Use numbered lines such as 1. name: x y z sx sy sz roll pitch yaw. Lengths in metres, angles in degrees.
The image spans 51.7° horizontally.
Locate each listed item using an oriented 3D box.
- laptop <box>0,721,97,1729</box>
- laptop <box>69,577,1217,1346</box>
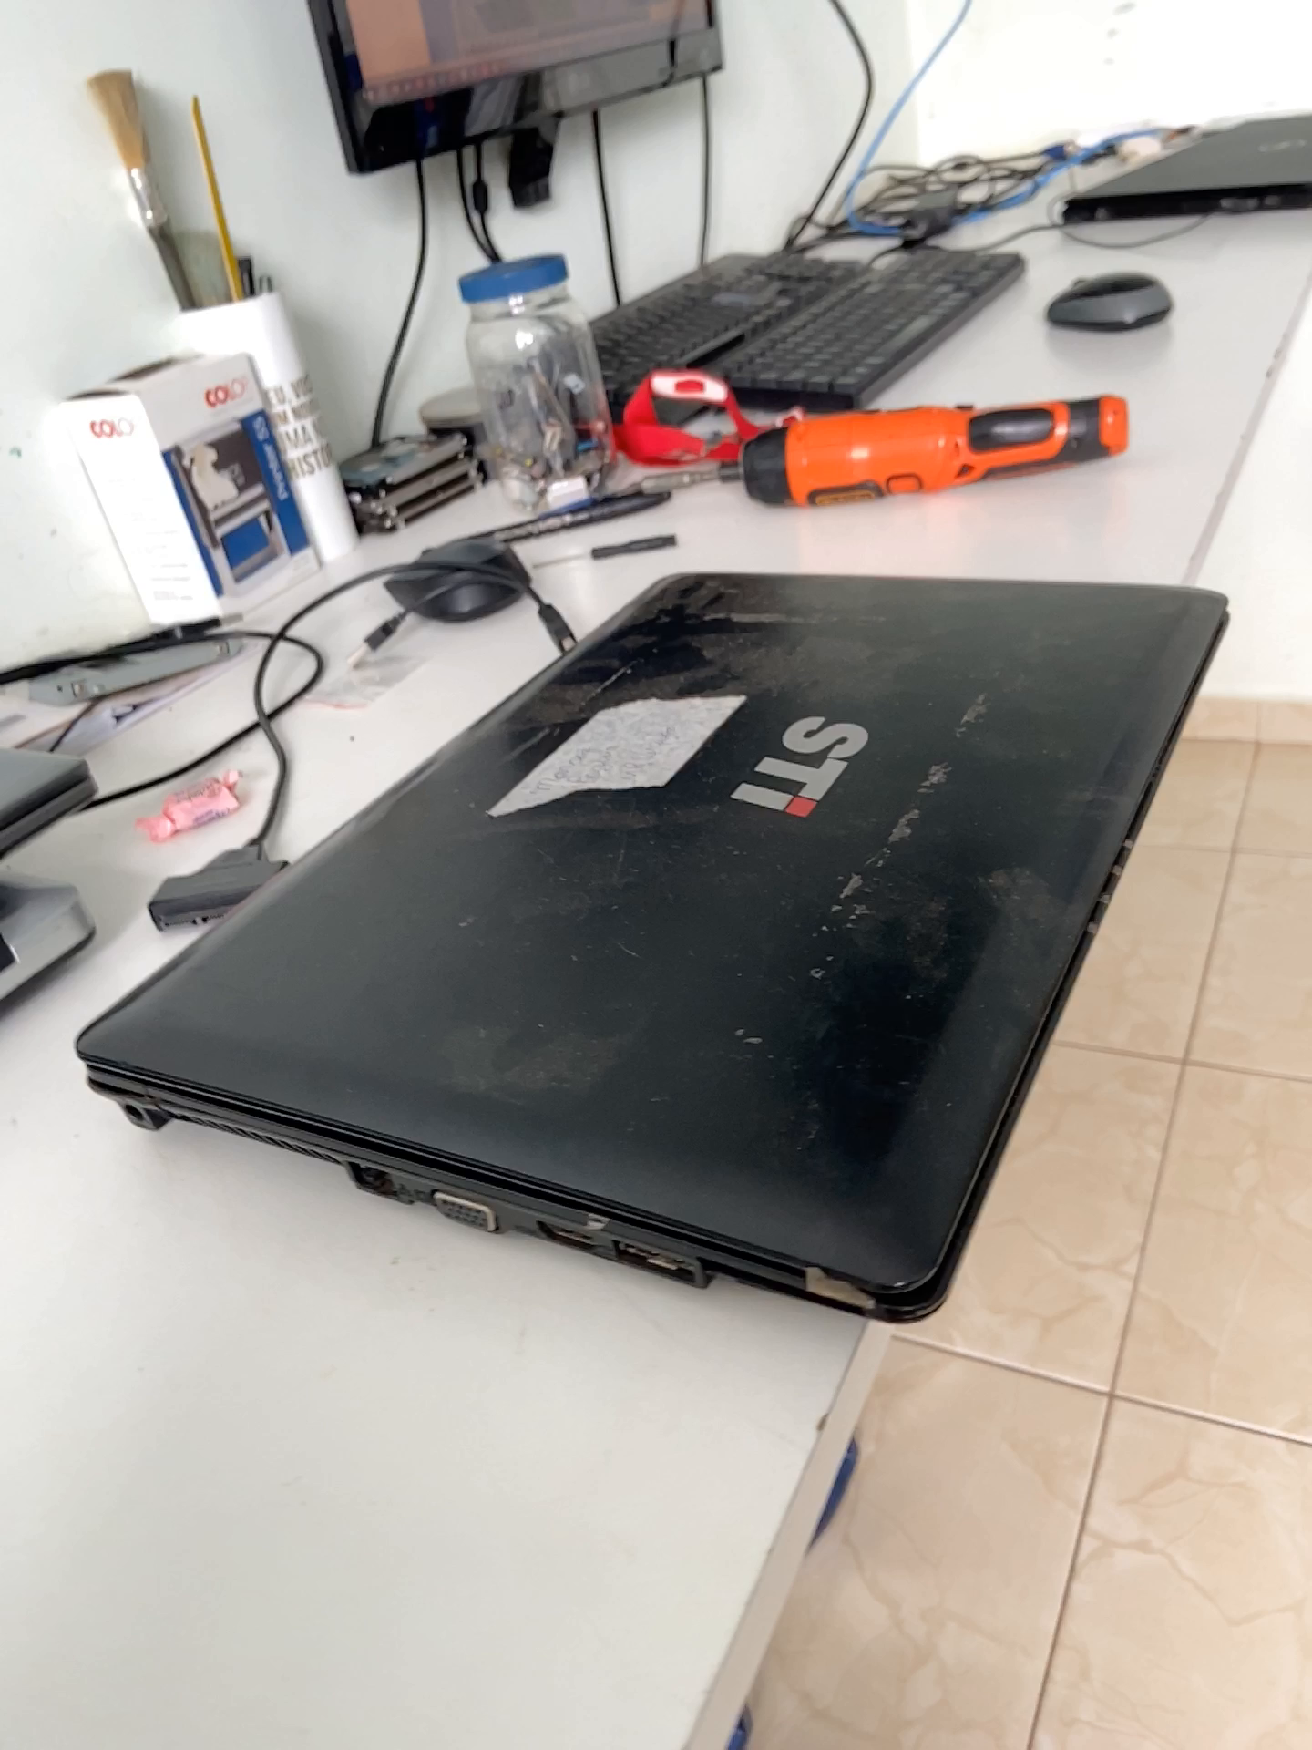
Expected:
1. laptop: -0.367 0.033 0.385 0.227 0.006 0.345 5 32 25
2. laptop: 0.026 -0.022 0.425 0.230 0.011 0.339 9 36 28
